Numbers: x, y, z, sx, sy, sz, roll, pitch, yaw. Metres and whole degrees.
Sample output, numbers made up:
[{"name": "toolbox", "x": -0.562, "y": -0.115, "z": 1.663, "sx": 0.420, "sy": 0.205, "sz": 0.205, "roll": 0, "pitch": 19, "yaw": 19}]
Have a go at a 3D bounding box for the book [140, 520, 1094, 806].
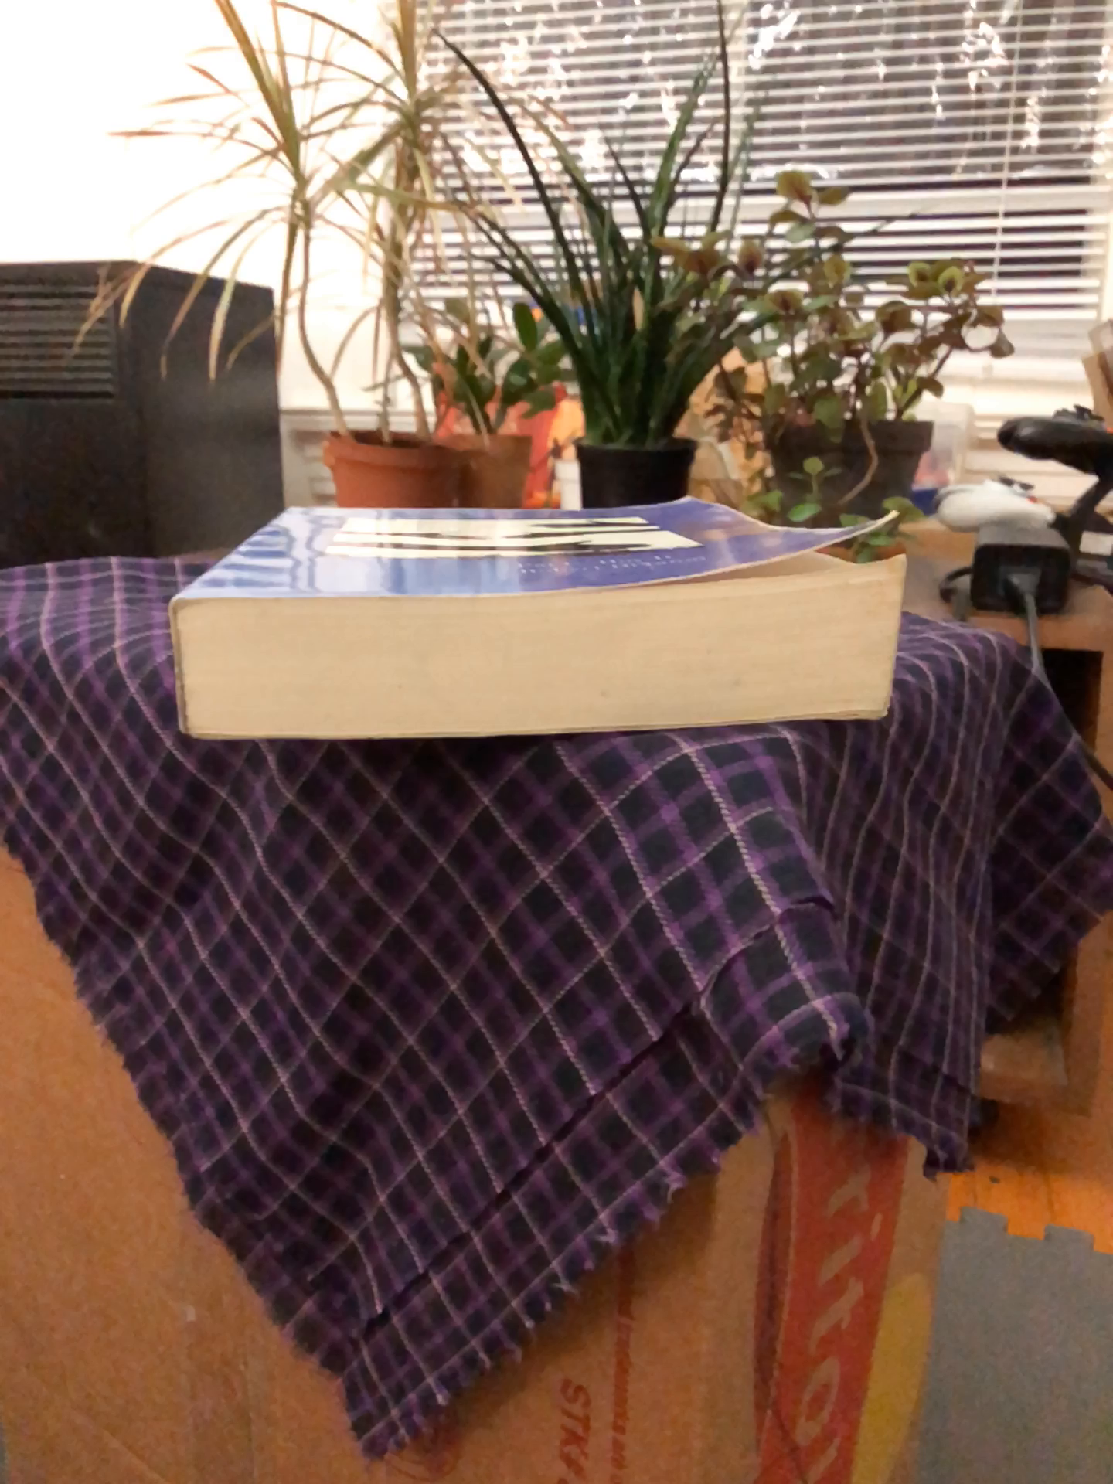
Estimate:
[{"name": "book", "x": 0.002, "y": -0.039, "z": 0.385, "sx": 0.200, "sy": 0.040, "sz": 0.261, "roll": -1, "pitch": 14, "yaw": -7}]
